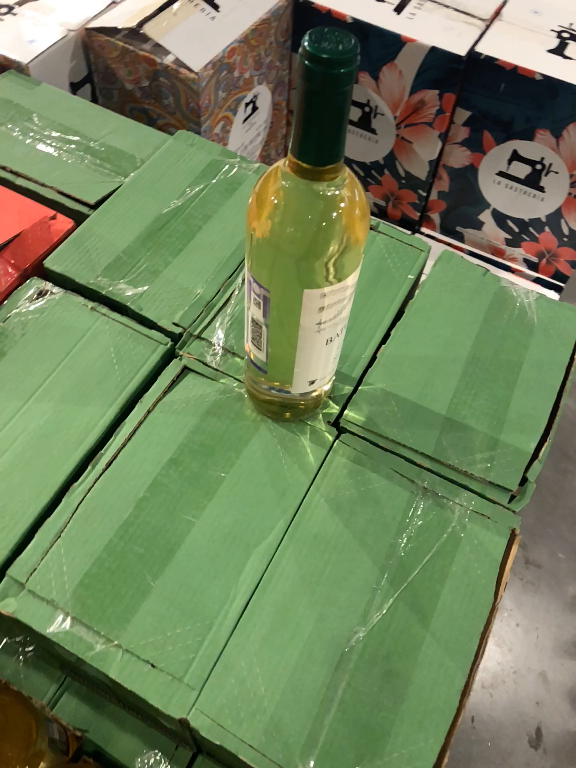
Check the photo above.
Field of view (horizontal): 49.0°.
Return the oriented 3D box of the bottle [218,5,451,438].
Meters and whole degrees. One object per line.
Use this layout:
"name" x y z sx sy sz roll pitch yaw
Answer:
"bottle" 0.016 -0.076 0.404 0.084 0.262 0.080 2 57 -3
